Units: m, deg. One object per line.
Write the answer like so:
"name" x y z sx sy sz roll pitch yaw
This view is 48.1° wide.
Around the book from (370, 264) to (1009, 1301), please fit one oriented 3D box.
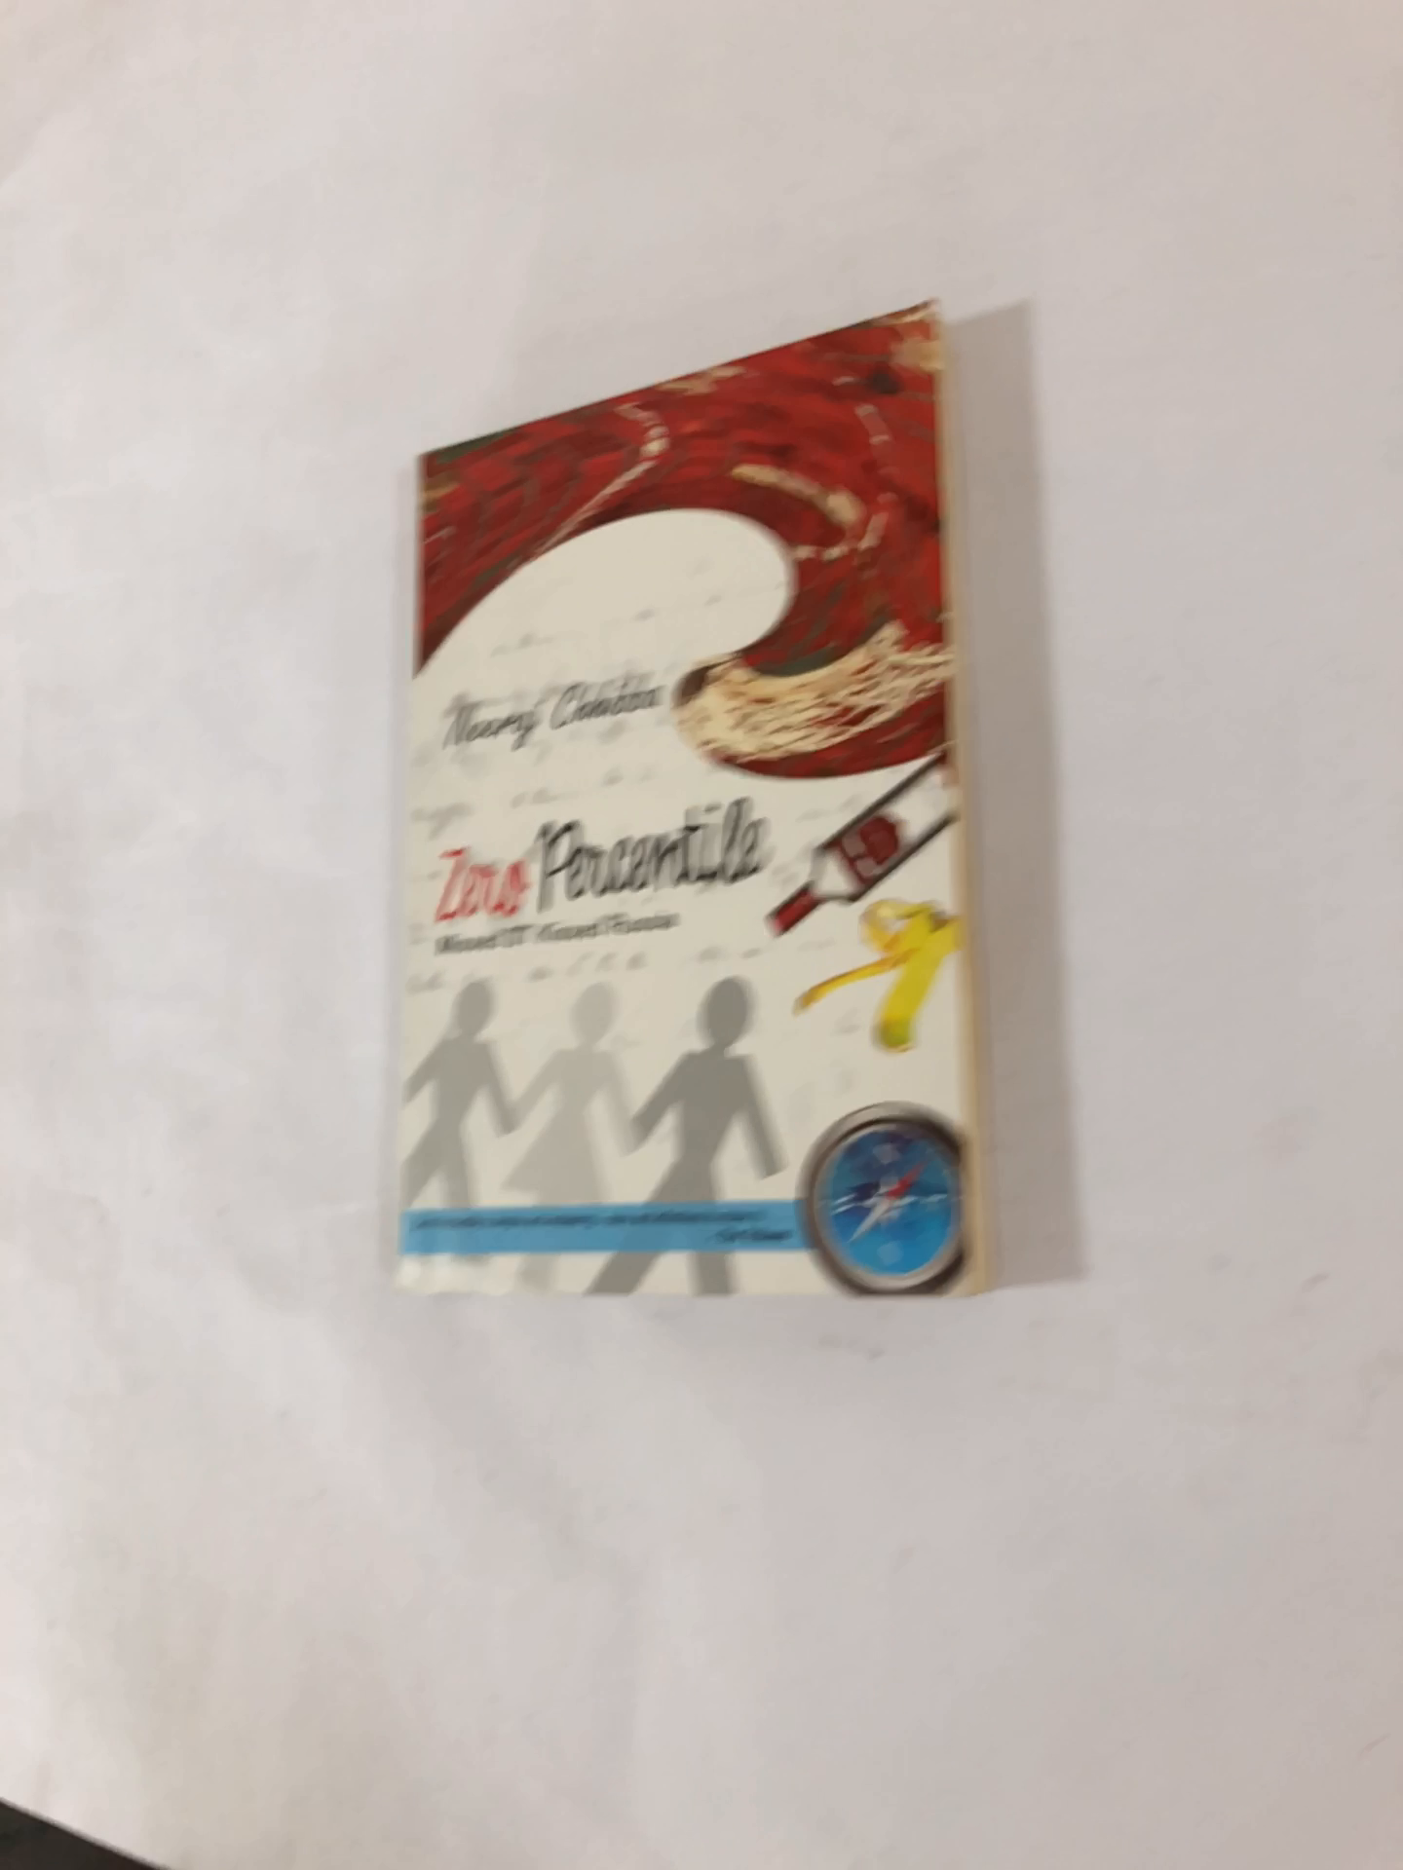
"book" -0.007 -0.027 0.331 0.133 0.021 0.200 -6 77 28
